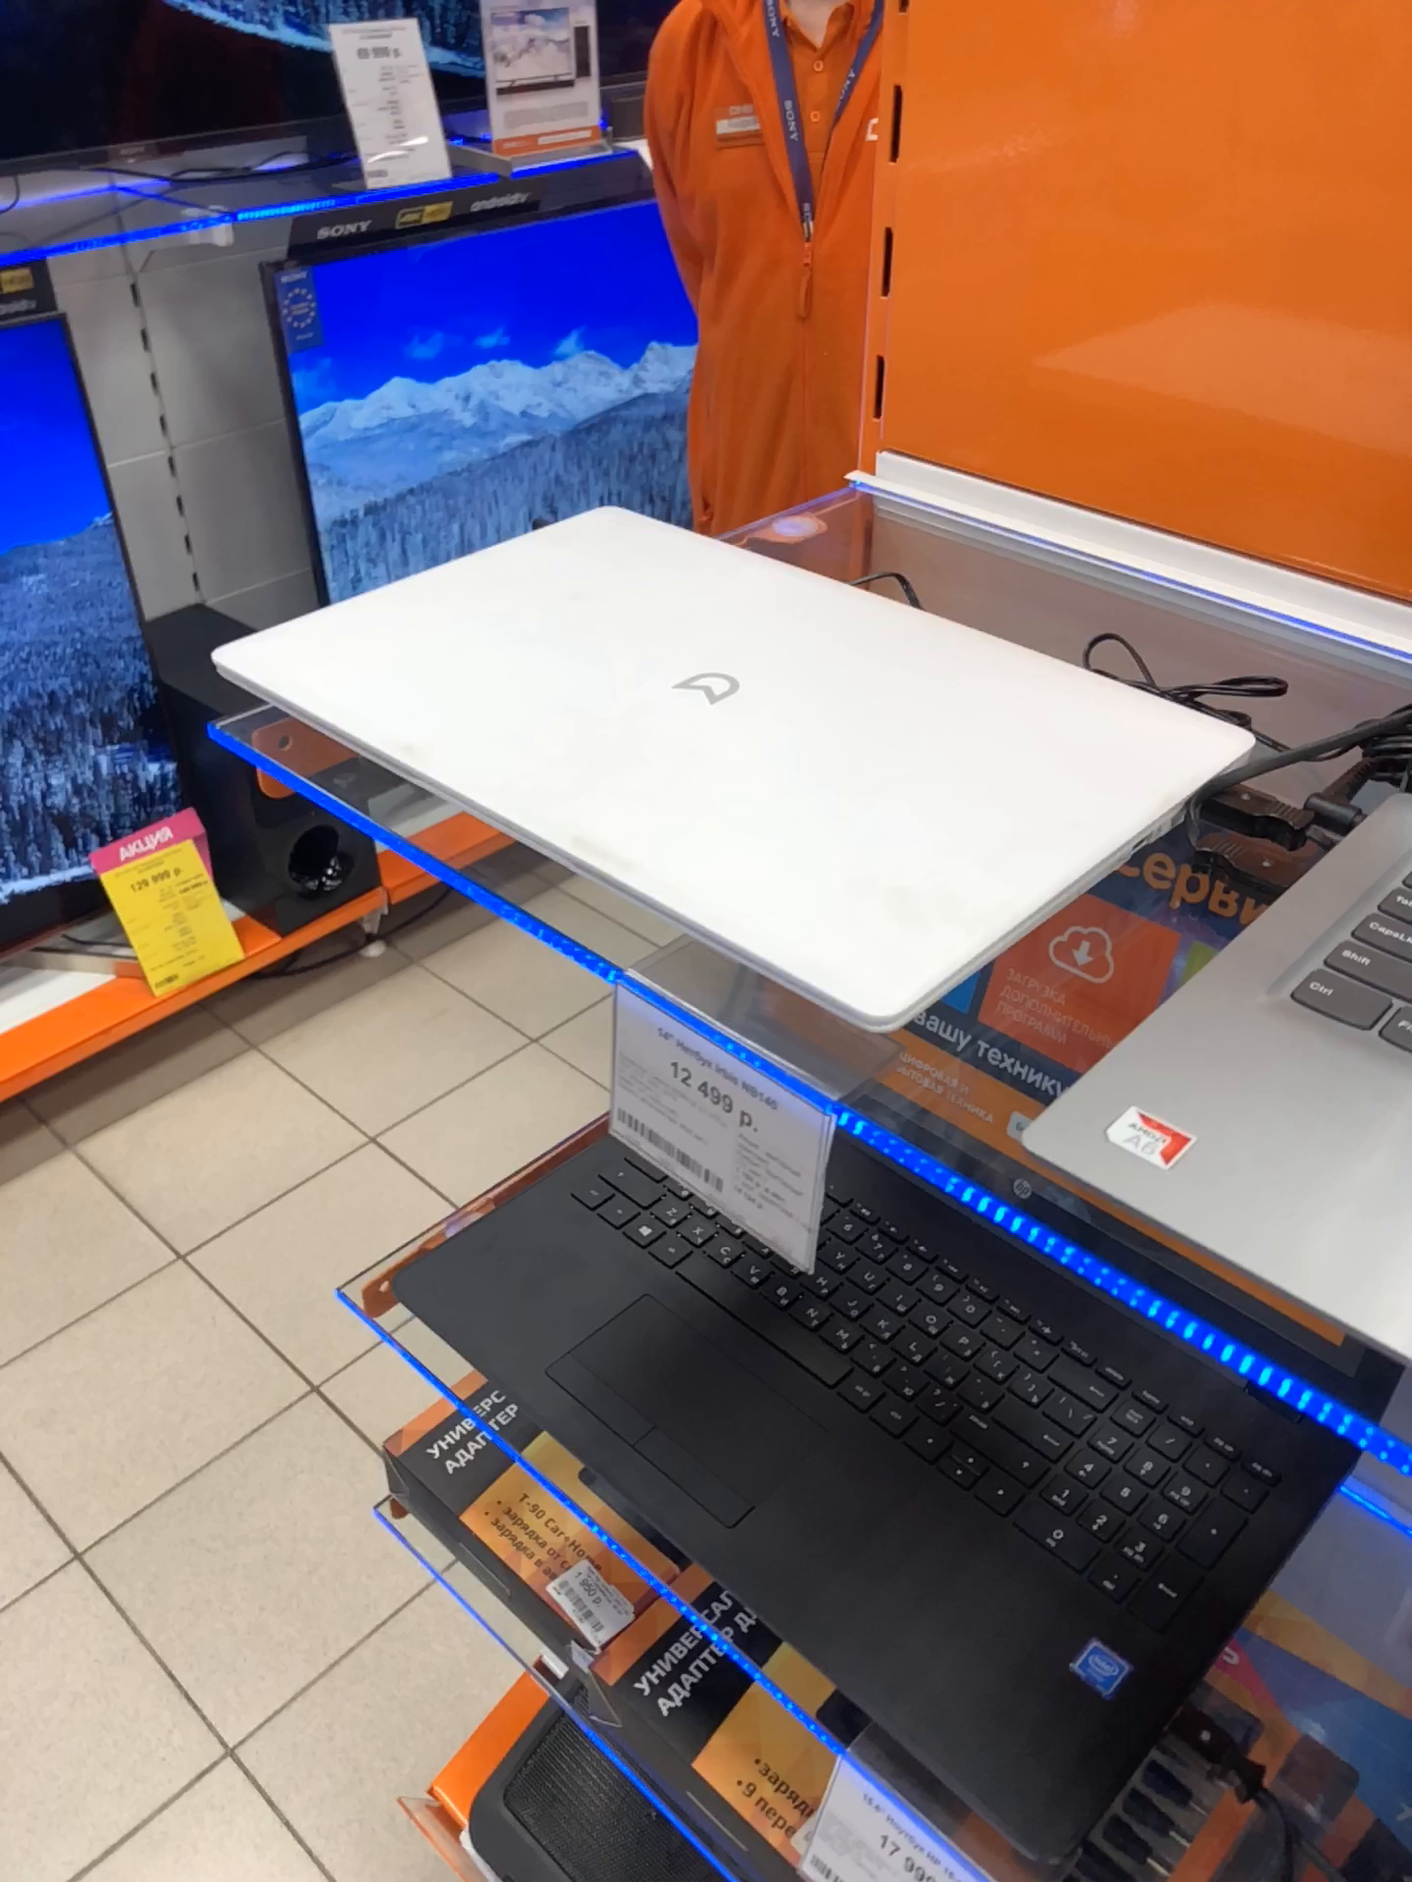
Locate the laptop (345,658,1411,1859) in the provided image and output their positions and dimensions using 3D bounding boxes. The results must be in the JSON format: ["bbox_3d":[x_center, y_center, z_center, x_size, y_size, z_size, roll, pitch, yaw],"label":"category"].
[{"bbox_3d":[0.090,0.083,0.663,0.307,0.228,0.365,-29,44,-35],"label":"laptop"}]

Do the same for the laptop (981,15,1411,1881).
[{"bbox_3d":[0.294,-0.033,0.302,0.344,0.224,0.279,27,43,33],"label":"laptop"}]

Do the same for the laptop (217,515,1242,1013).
[{"bbox_3d":[0.000,-0.089,0.564,0.313,0.002,0.212,29,44,34],"label":"laptop"}]
